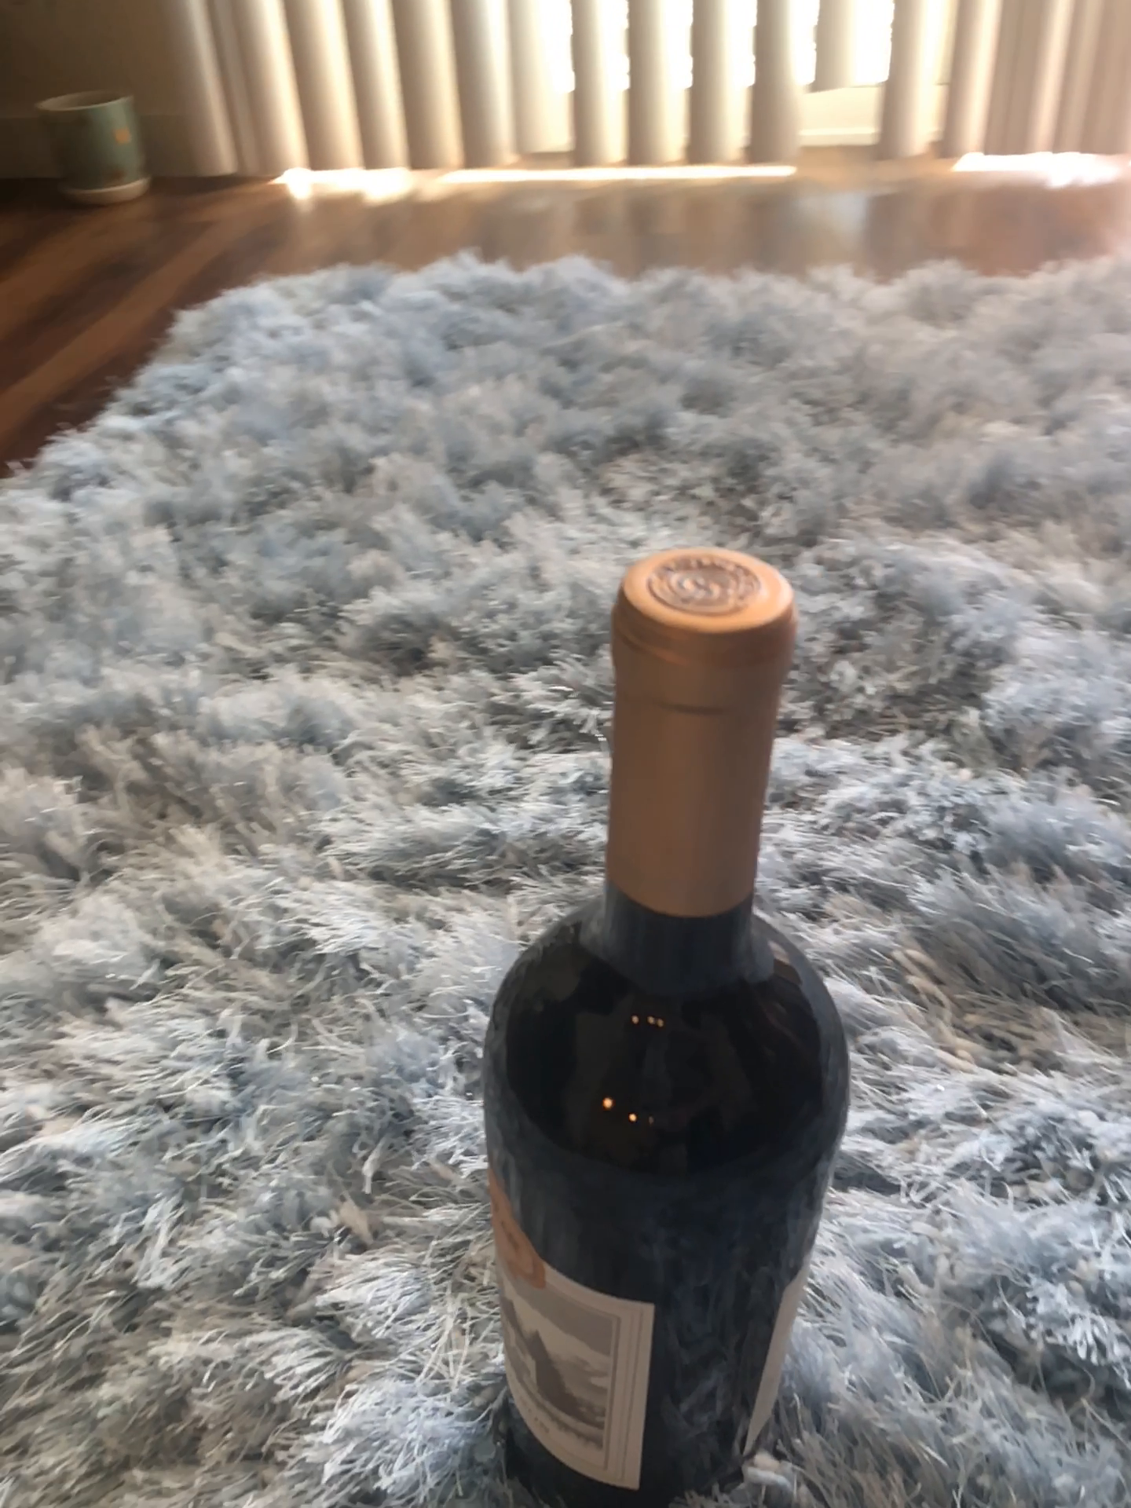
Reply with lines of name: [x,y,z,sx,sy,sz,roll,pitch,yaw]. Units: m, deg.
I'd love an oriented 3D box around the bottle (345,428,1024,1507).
bottle: [0.021,0.088,0.290,0.090,0.298,0.090,-2,37,2]
